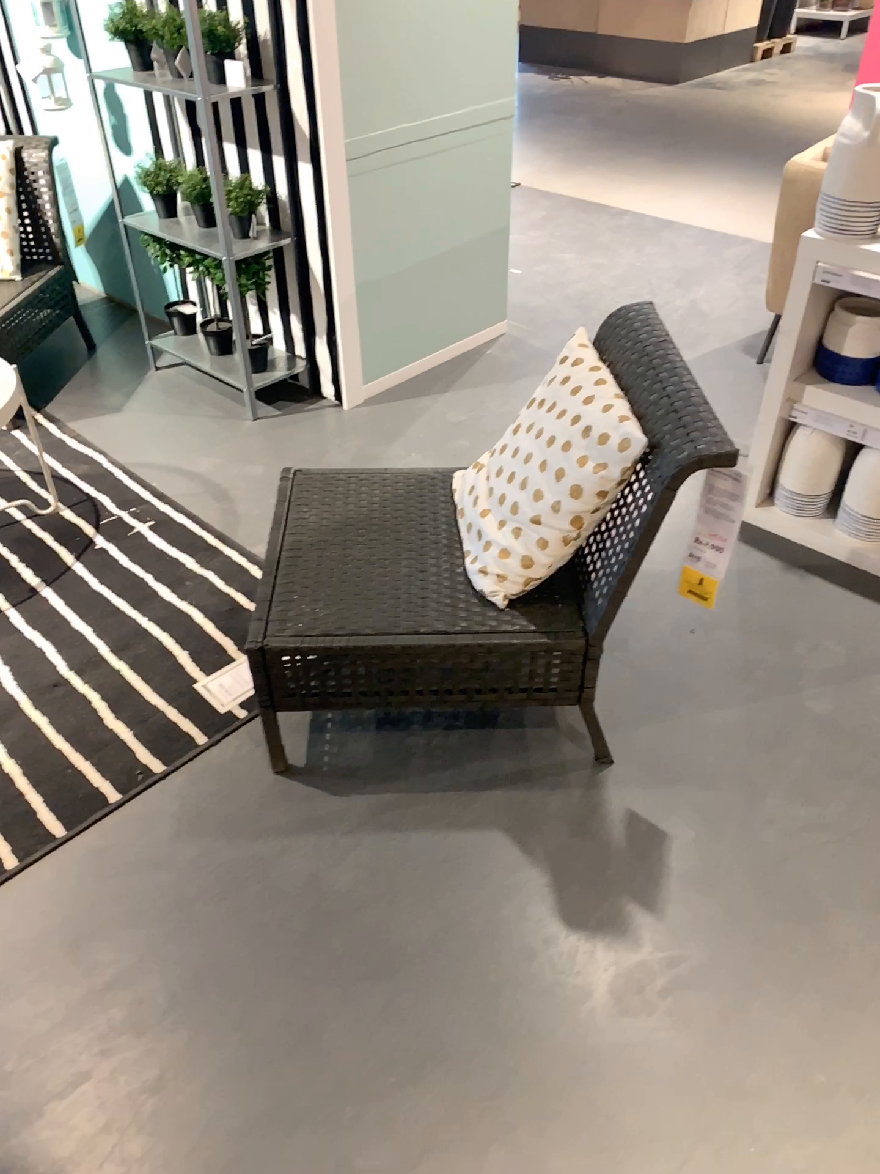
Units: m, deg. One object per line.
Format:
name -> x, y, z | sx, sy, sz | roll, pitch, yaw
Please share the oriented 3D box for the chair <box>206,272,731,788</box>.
chair -> 0.041, -0.127, 1.843 | 0.780, 0.797, 0.703 | -1, 38, 0
